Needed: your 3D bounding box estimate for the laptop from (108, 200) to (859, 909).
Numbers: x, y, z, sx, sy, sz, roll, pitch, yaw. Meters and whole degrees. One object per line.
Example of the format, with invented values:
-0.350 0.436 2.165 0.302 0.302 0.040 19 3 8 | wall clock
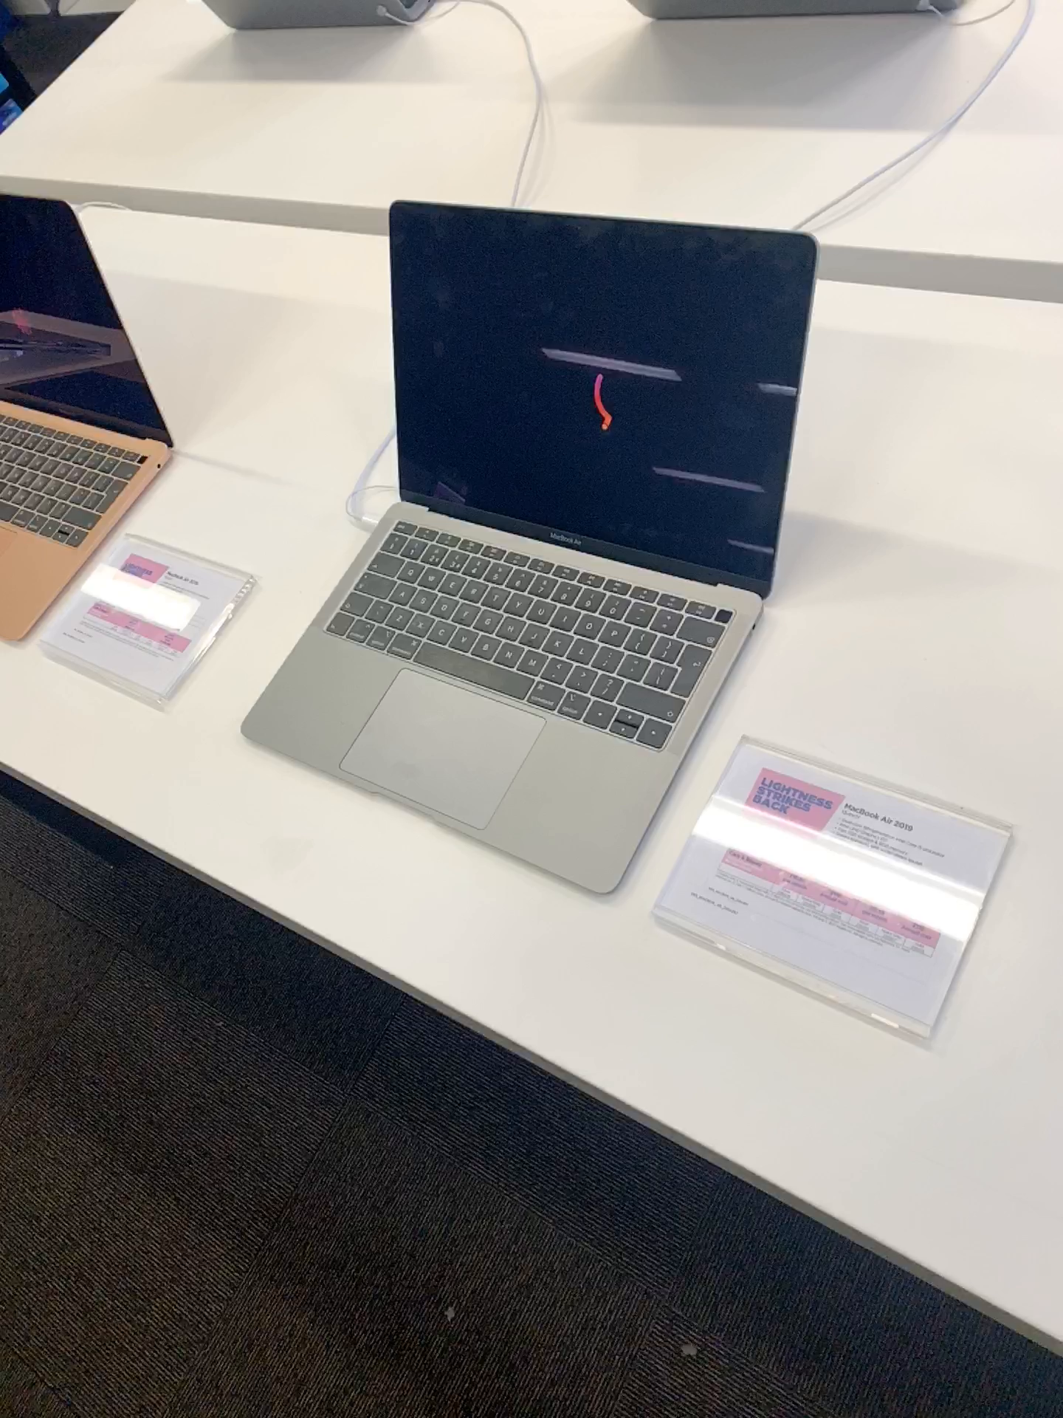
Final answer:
-0.012 -0.112 0.643 0.290 0.160 0.329 19 68 30 | laptop
